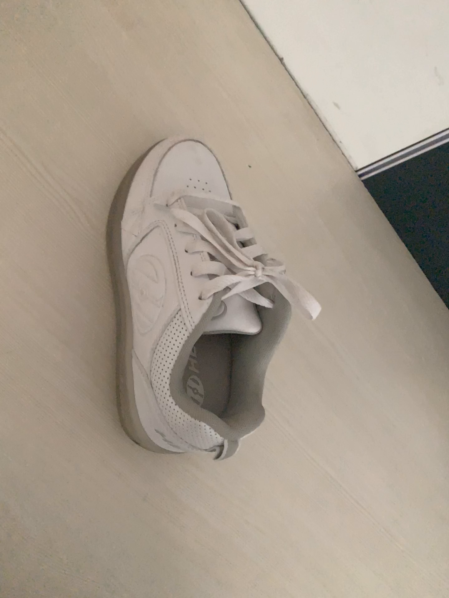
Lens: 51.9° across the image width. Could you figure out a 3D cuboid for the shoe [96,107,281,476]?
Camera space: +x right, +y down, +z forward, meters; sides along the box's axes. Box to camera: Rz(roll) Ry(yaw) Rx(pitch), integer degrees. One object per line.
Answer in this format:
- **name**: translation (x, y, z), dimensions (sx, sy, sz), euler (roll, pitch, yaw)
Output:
- **shoe**: translation (-0.031, -0.001, 0.337), dimensions (0.090, 0.090, 0.230), euler (7, 72, -34)
